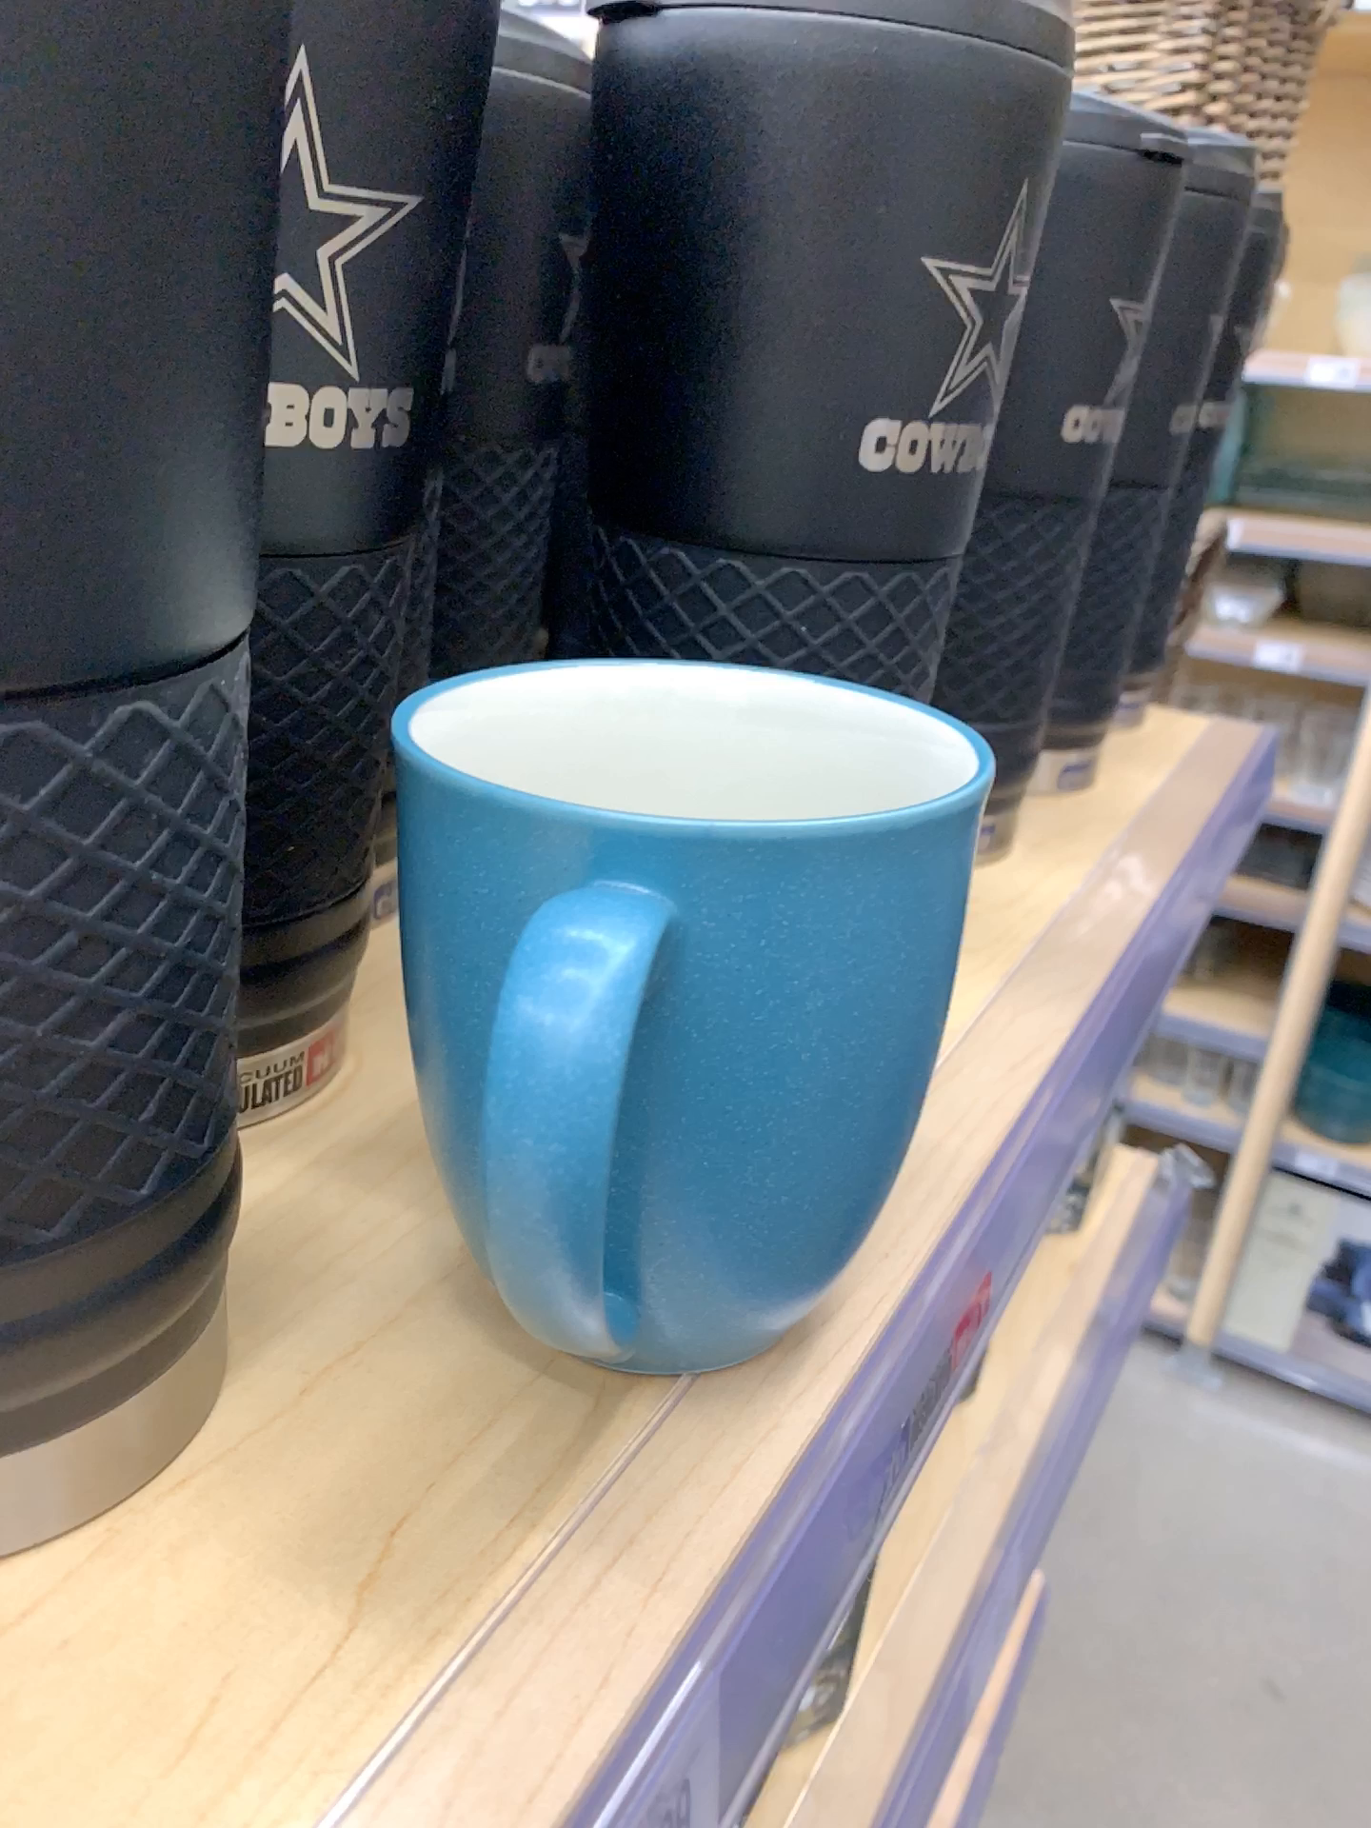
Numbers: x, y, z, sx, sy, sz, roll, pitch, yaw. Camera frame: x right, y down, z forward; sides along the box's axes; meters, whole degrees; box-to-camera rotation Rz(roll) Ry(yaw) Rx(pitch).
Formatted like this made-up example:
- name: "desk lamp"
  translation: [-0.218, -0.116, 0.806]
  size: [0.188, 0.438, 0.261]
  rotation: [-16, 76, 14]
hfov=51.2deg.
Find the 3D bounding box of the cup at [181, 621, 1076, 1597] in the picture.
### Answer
- name: "cup"
  translation: [0.000, 0.013, 0.217]
  size: [0.089, 0.084, 0.116]
  rotation: [13, 24, 16]
